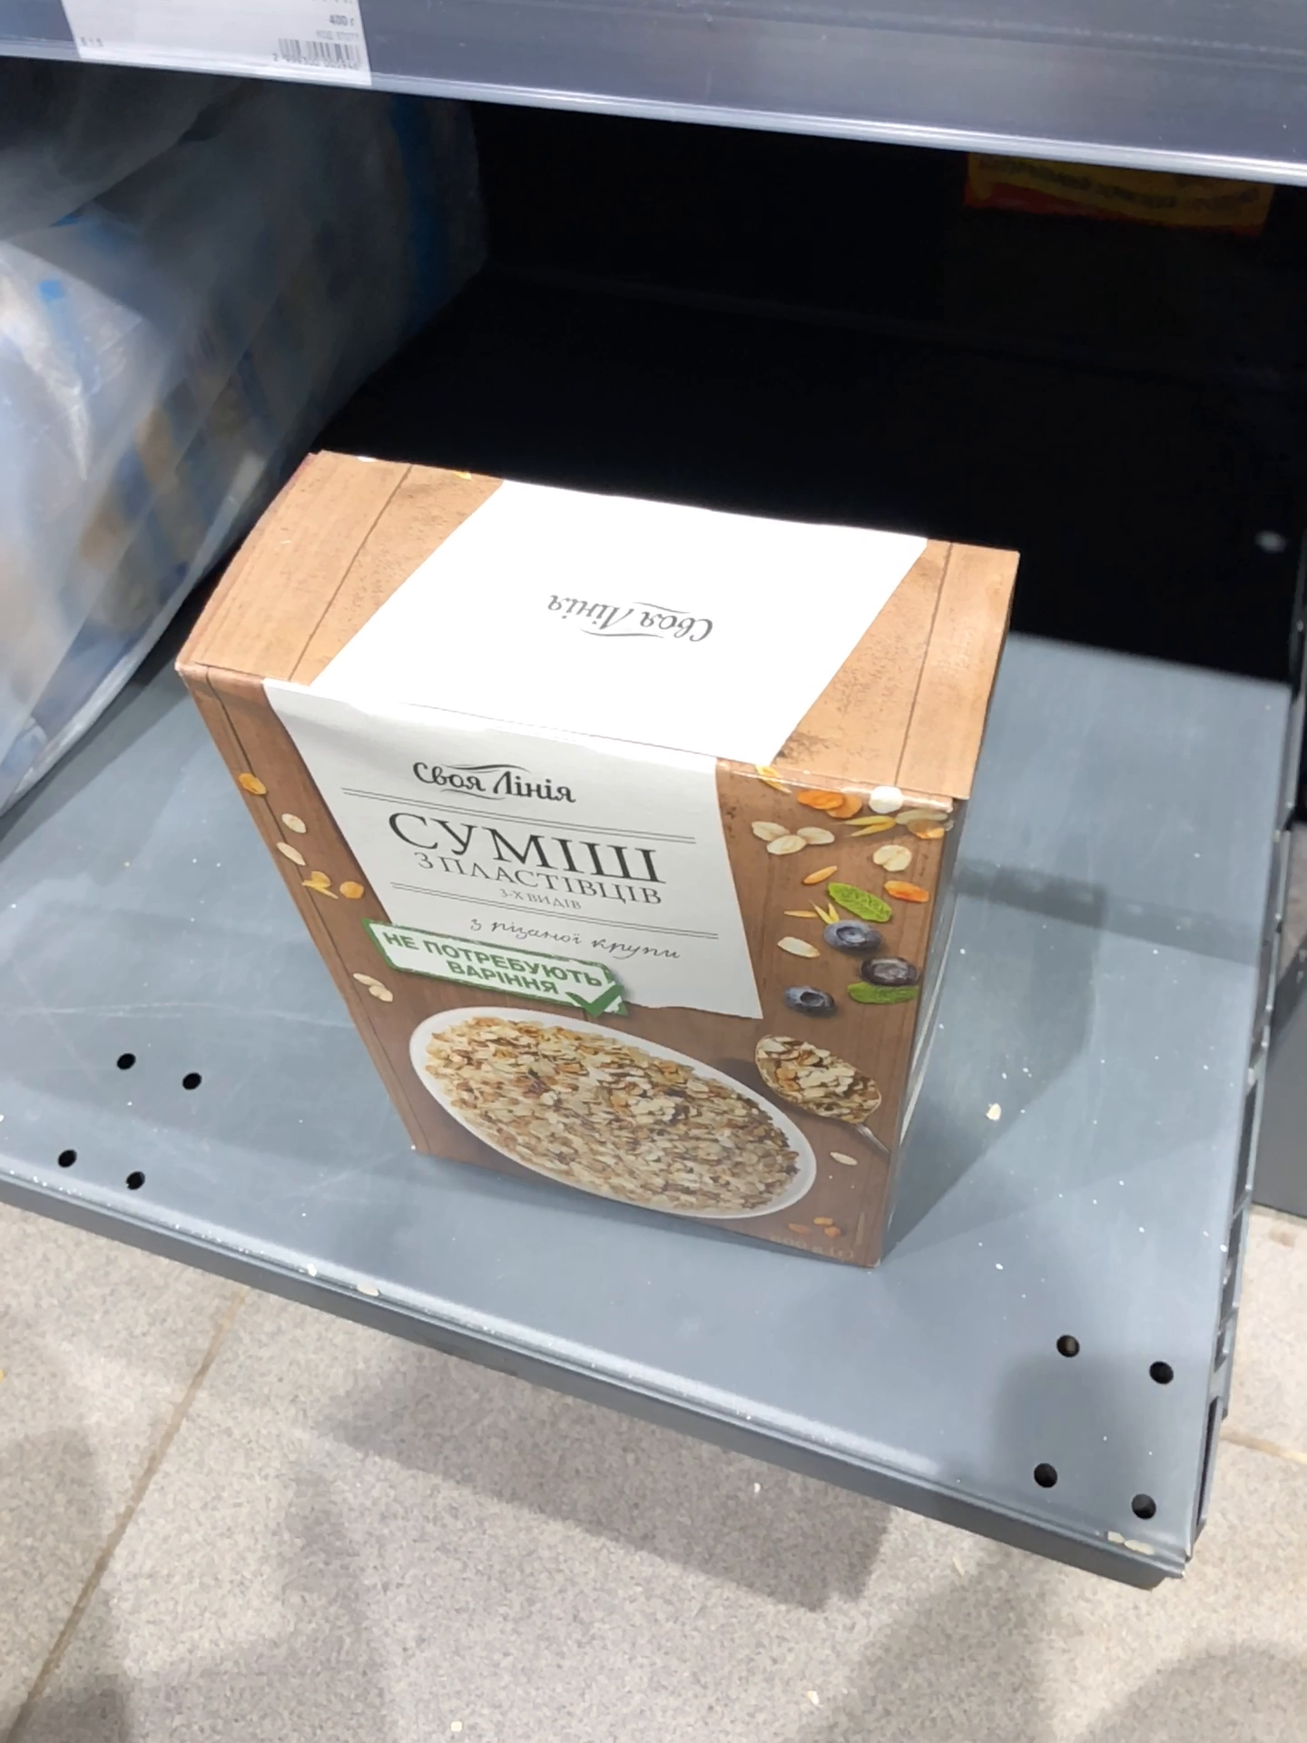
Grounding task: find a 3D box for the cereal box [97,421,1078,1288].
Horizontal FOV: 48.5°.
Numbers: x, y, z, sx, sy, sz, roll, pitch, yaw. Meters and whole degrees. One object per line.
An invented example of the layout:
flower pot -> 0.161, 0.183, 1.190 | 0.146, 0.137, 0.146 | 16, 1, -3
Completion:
cereal box -> -0.005, 0.011, 0.336 | 0.160, 0.209, 0.060 | 12, 56, 13
